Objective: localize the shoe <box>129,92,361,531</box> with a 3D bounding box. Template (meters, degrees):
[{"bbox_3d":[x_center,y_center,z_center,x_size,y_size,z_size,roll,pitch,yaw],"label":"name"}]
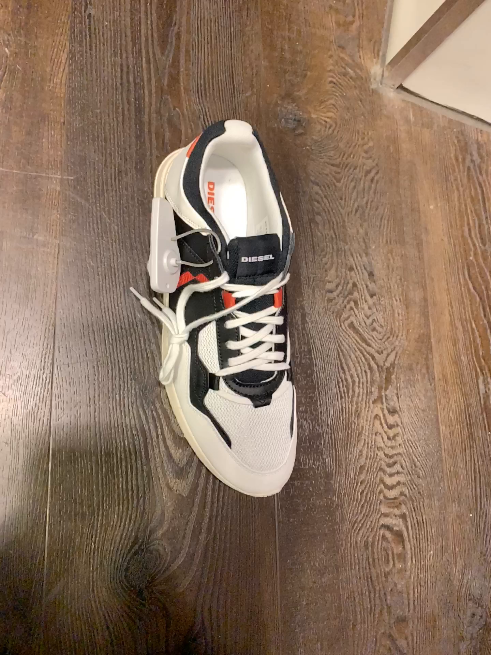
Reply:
[{"bbox_3d":[-0.012,-0.015,0.408,0.110,0.110,0.300,-6,82,-22],"label":"shoe"}]
